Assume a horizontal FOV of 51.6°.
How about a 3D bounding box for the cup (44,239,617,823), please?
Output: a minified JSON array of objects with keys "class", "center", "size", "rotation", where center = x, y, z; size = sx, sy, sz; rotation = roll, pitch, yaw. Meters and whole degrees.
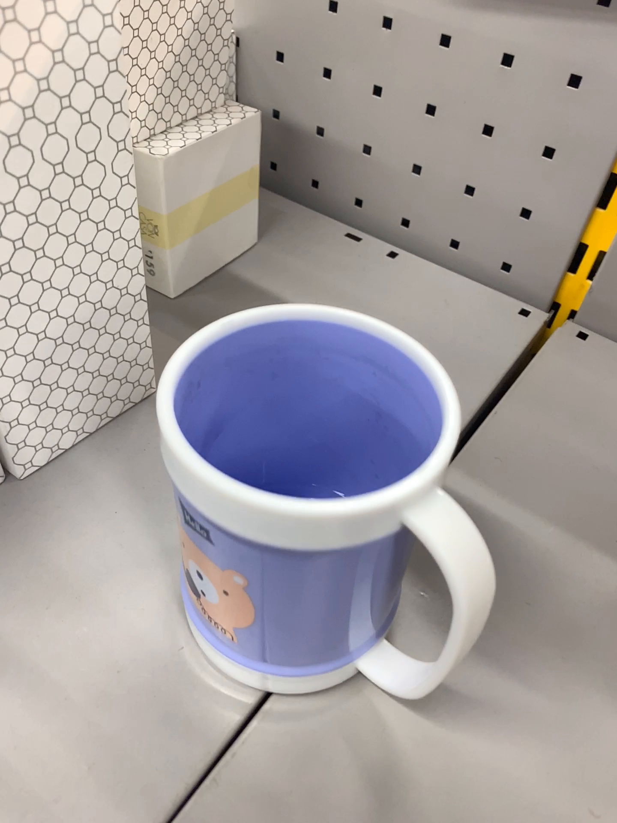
[{"class":"cup","center":[0.005,0.034,0.189],"size":[0.120,0.100,0.090],"rotation":[37,52,26]}]
